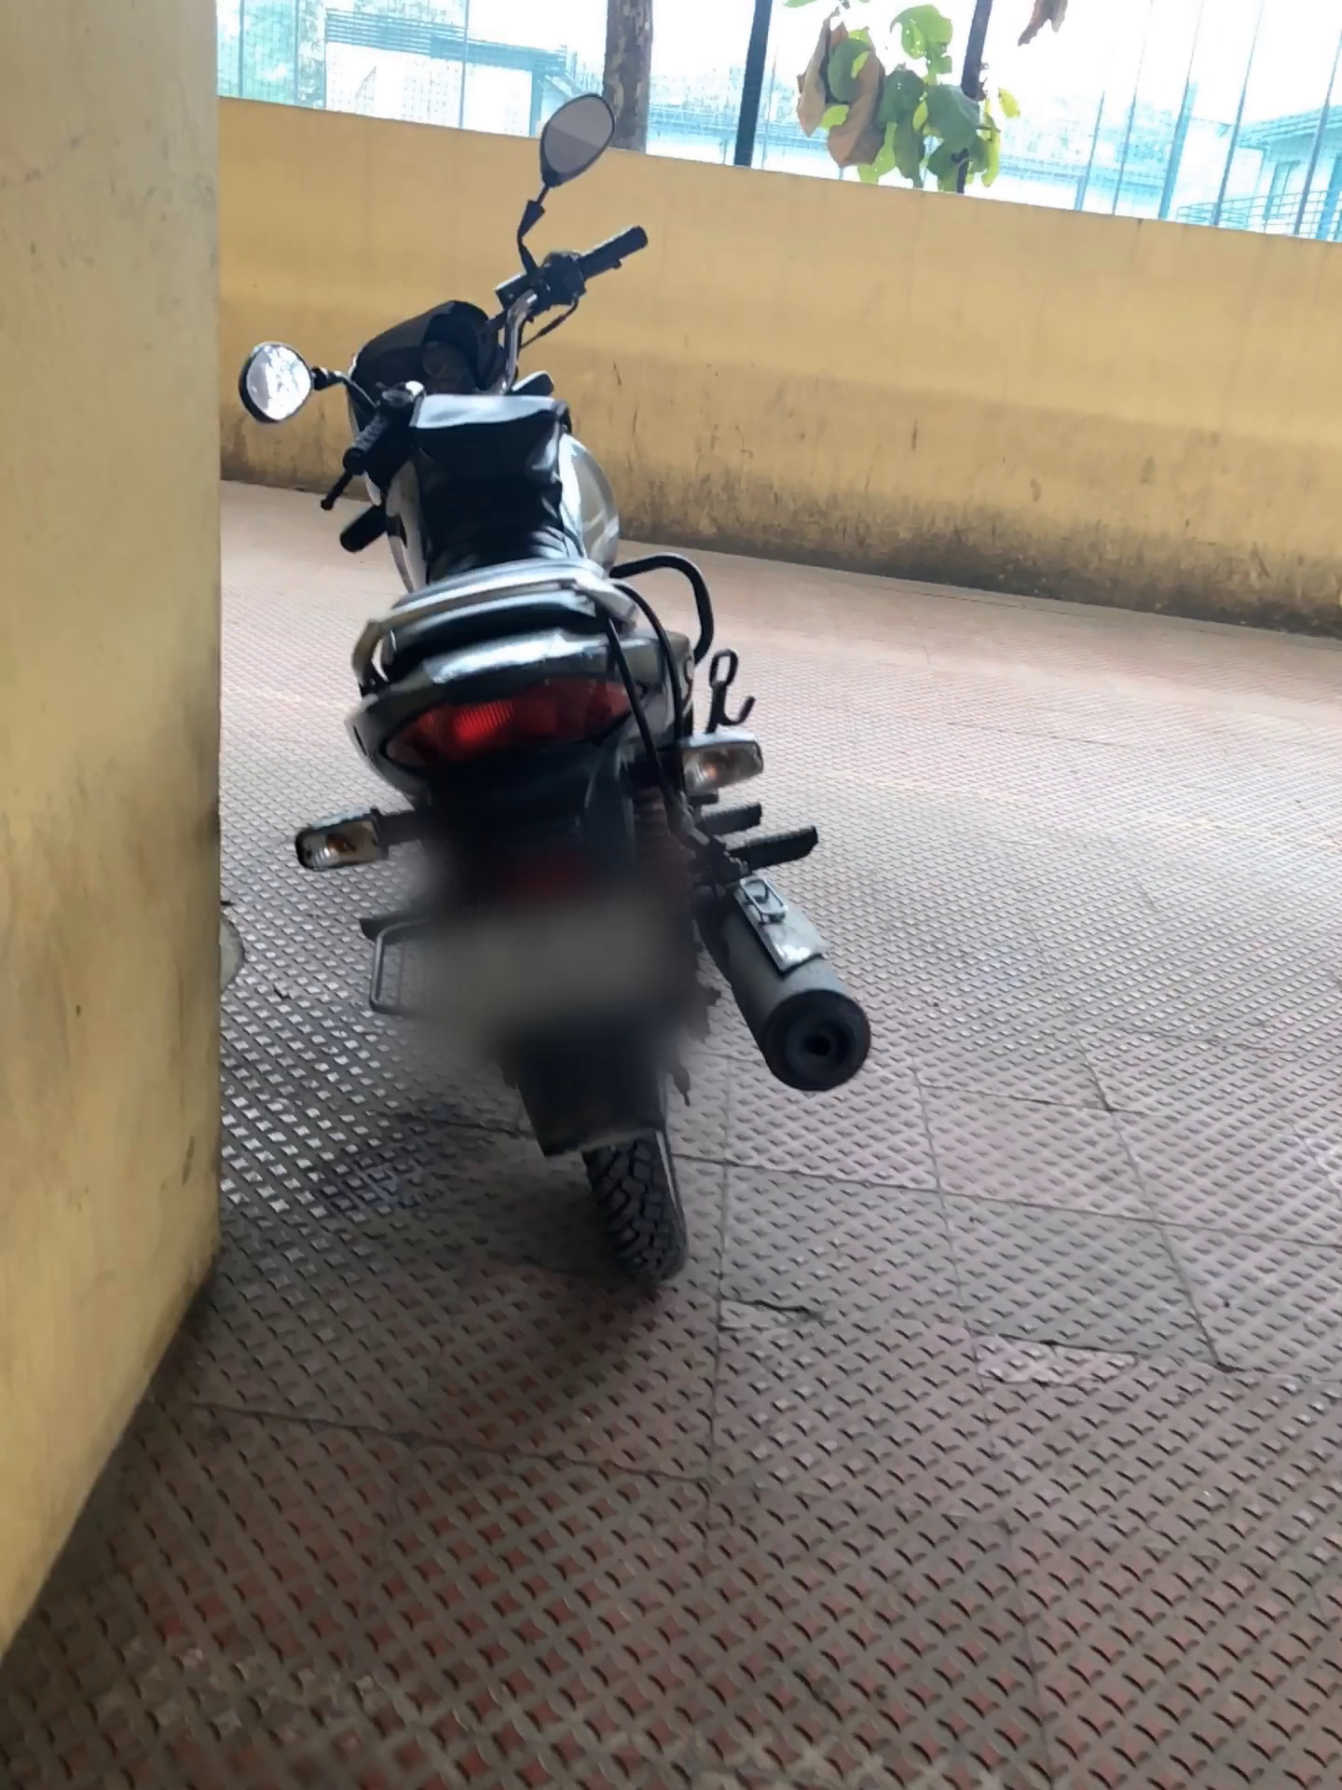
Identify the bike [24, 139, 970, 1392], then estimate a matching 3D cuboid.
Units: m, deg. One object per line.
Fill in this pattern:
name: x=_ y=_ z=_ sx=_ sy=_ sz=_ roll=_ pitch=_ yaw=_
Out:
bike: x=-0.345 y=-0.315 z=1.998 sx=0.720 sy=1.166 sz=1.475 roll=2 pitch=25 yaw=-13
